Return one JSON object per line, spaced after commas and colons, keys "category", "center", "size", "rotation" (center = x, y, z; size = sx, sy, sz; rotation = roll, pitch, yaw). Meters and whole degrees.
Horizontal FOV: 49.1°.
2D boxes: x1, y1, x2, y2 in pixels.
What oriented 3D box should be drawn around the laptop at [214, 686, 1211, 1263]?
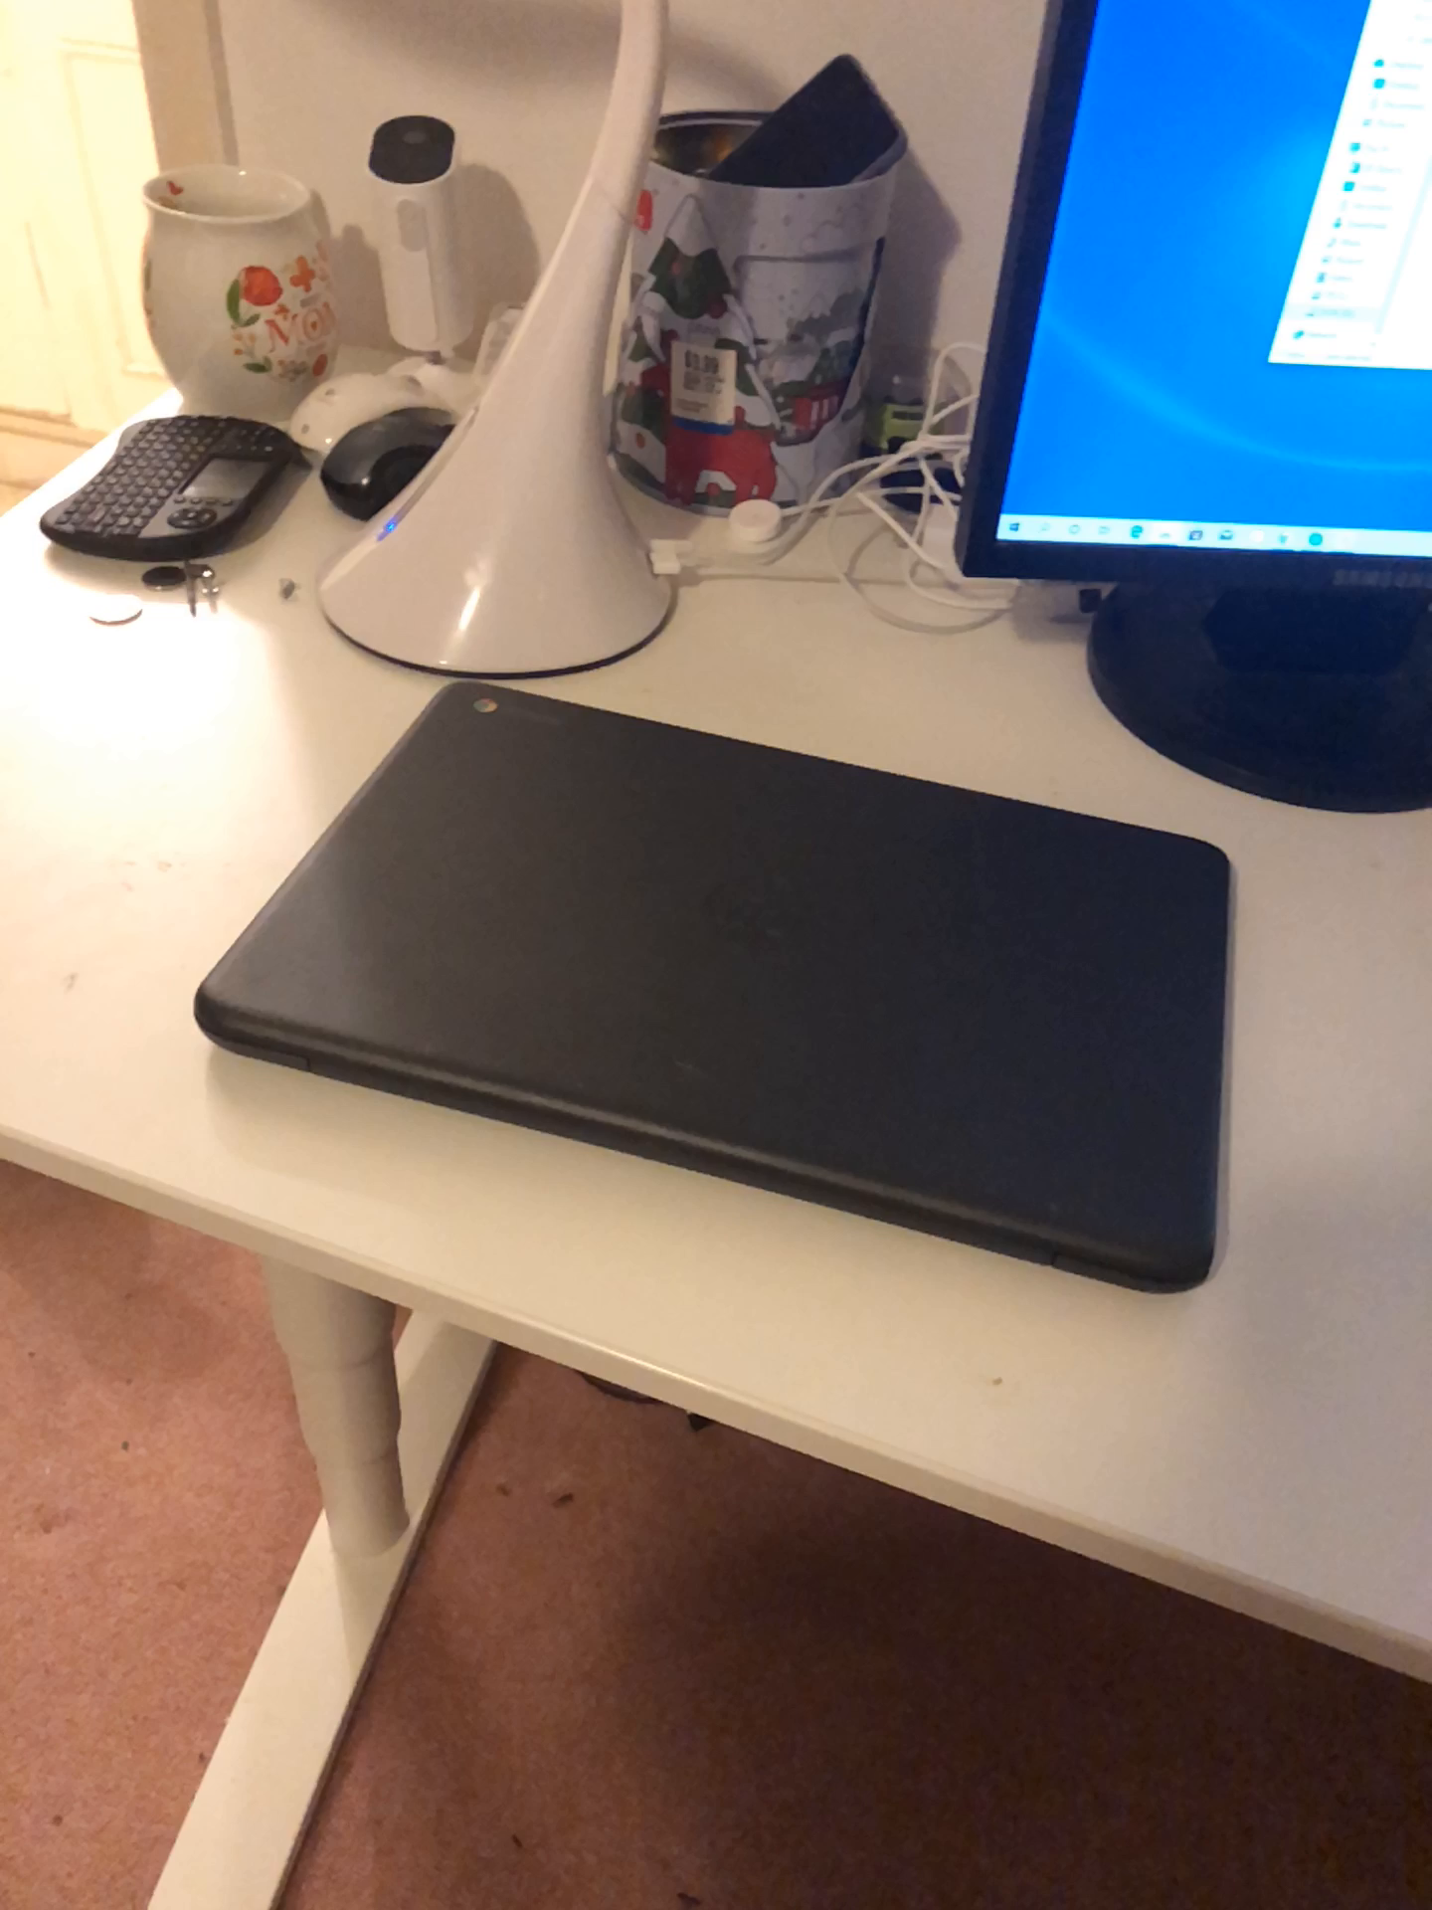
{"category": "laptop", "center": [0.015, -0.012, 0.576], "size": [0.326, 0.001, 0.210], "rotation": [13, 43, 9]}
